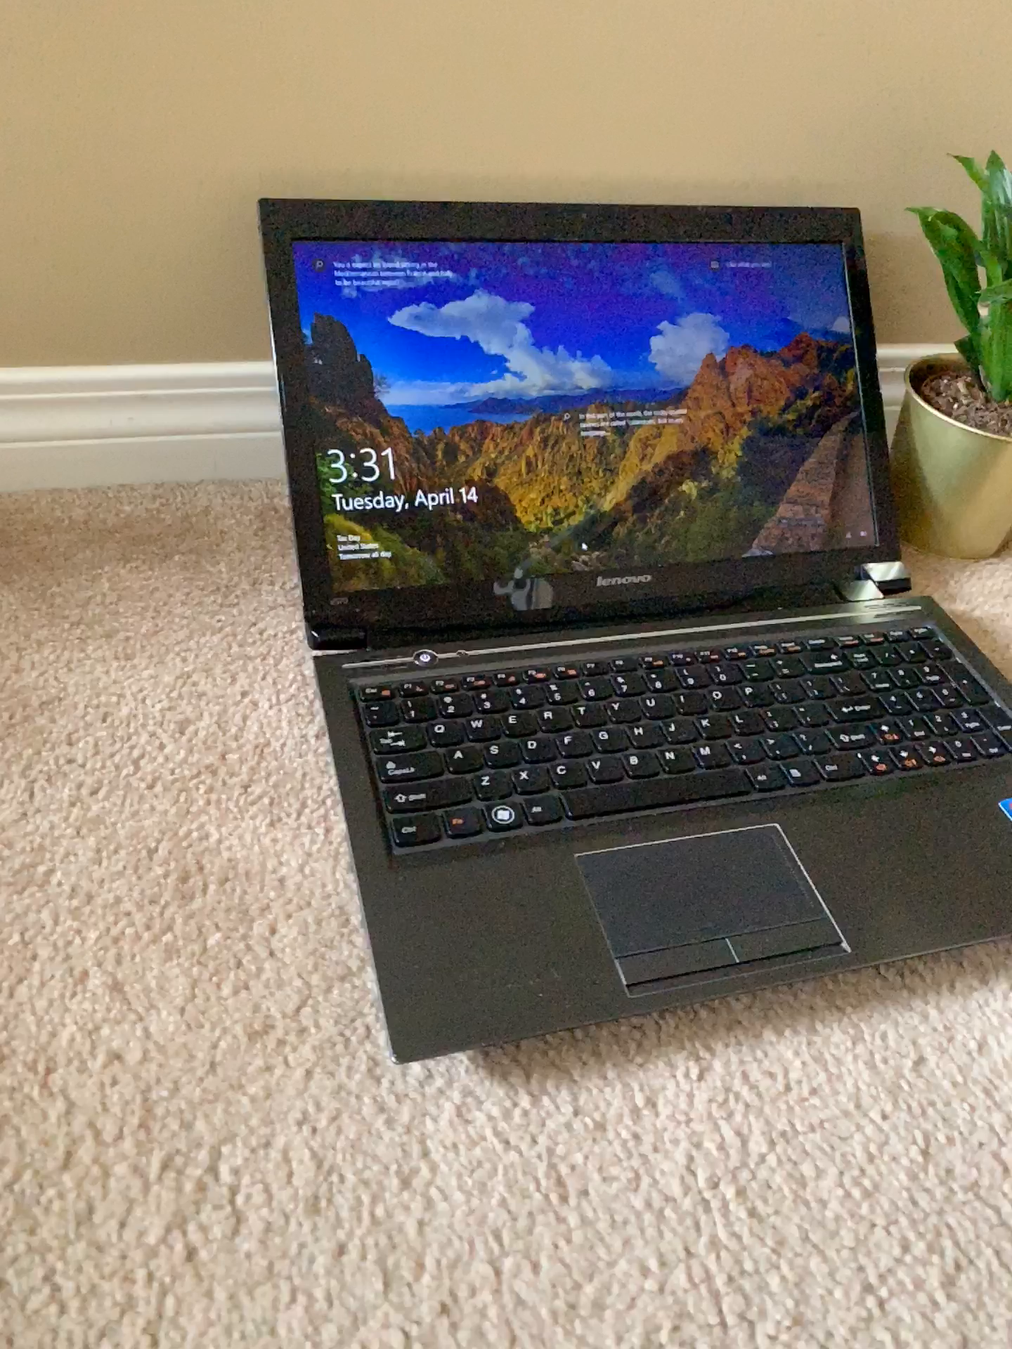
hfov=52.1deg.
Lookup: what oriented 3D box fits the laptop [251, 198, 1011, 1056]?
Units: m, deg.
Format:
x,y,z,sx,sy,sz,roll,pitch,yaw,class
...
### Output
x,y,z,sx,sy,sz,roll,pitch,yaw,class
0.090,-0.076,0.518,0.372,0.166,0.411,-6,43,-16,laptop
